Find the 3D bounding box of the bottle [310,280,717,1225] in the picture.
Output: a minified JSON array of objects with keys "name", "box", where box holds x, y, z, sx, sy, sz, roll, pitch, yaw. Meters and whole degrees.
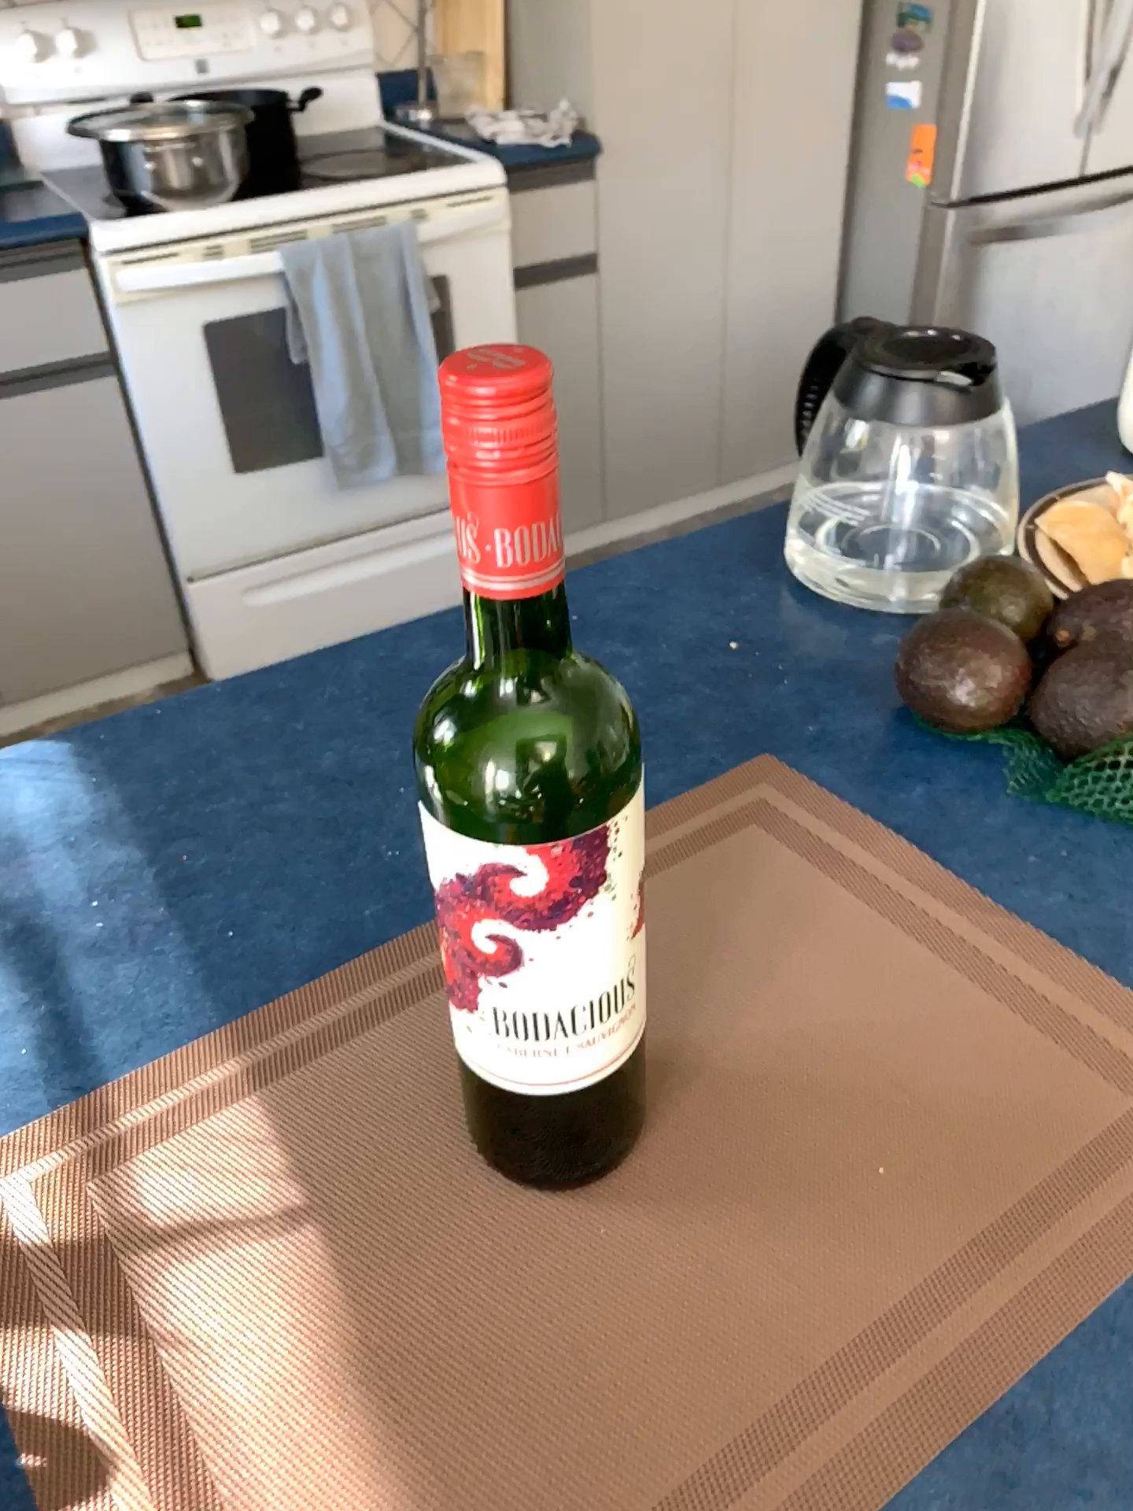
[{"name":"bottle","box":[-0.010,0.018,0.375,0.080,0.297,0.081,-2,36,2]}]
